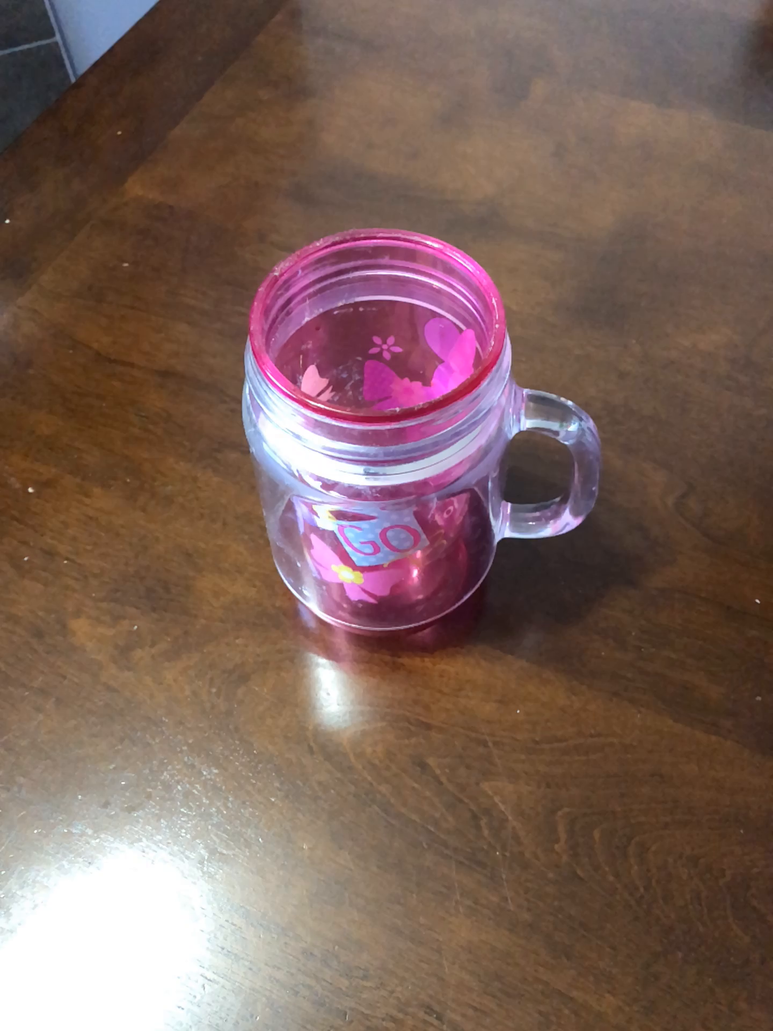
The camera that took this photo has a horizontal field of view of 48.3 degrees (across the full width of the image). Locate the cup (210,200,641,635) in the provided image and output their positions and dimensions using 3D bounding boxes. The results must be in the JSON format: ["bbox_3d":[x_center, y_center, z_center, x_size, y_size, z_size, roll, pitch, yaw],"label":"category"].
[{"bbox_3d":[0.014,-0.026,0.329,0.120,0.160,0.080,2,58,2],"label":"cup"}]
